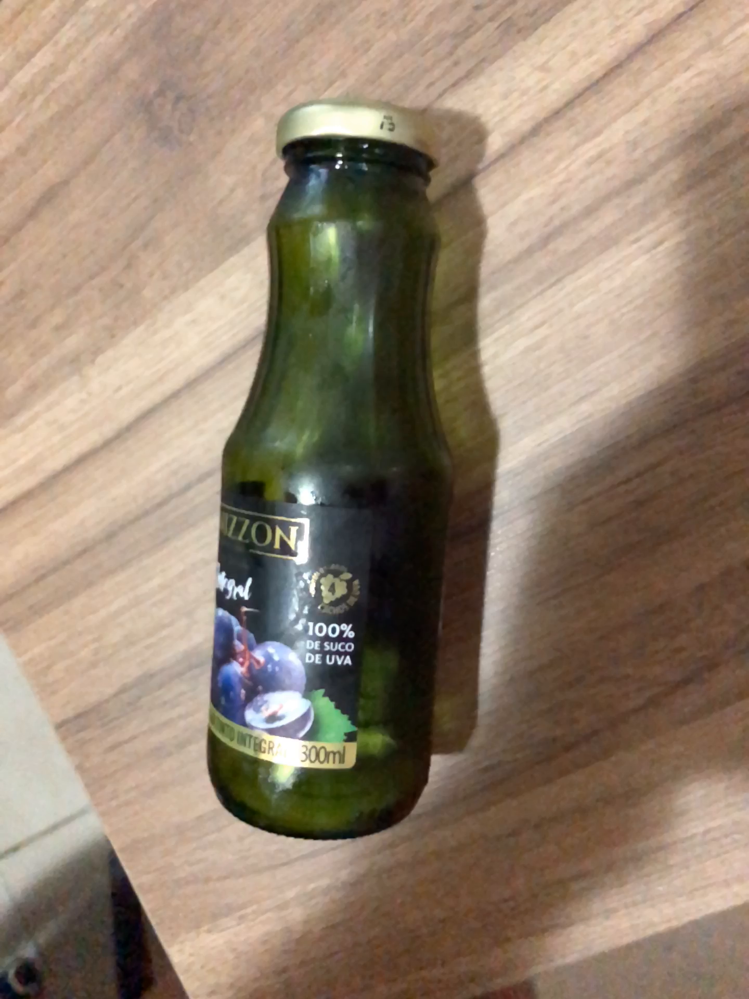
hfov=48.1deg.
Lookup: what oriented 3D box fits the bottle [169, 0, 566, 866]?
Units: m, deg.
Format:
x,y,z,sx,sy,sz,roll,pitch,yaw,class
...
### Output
x,y,z,sx,sy,sz,roll,pitch,yaw,class
-0.007,-0.018,0.233,0.070,0.070,0.200,15,103,55,bottle
